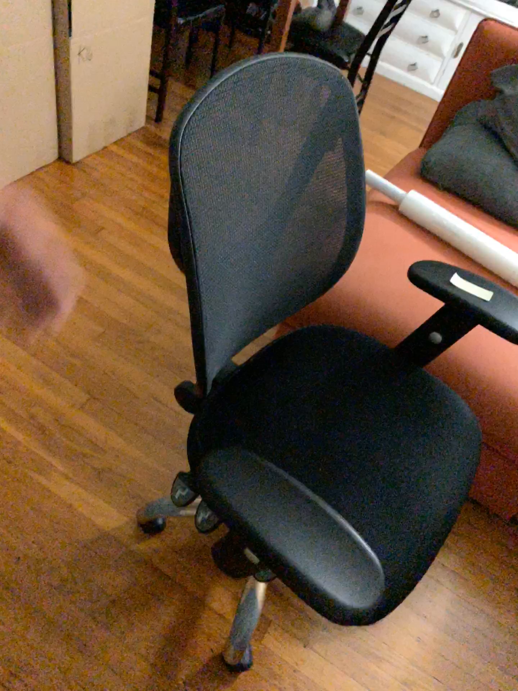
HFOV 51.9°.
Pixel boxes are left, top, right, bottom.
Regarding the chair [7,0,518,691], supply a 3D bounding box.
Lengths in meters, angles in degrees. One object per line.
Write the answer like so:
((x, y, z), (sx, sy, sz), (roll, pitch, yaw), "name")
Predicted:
((0.123, 0.071, 0.947), (0.661, 0.975, 0.642), (35, 49, 21), "chair")
